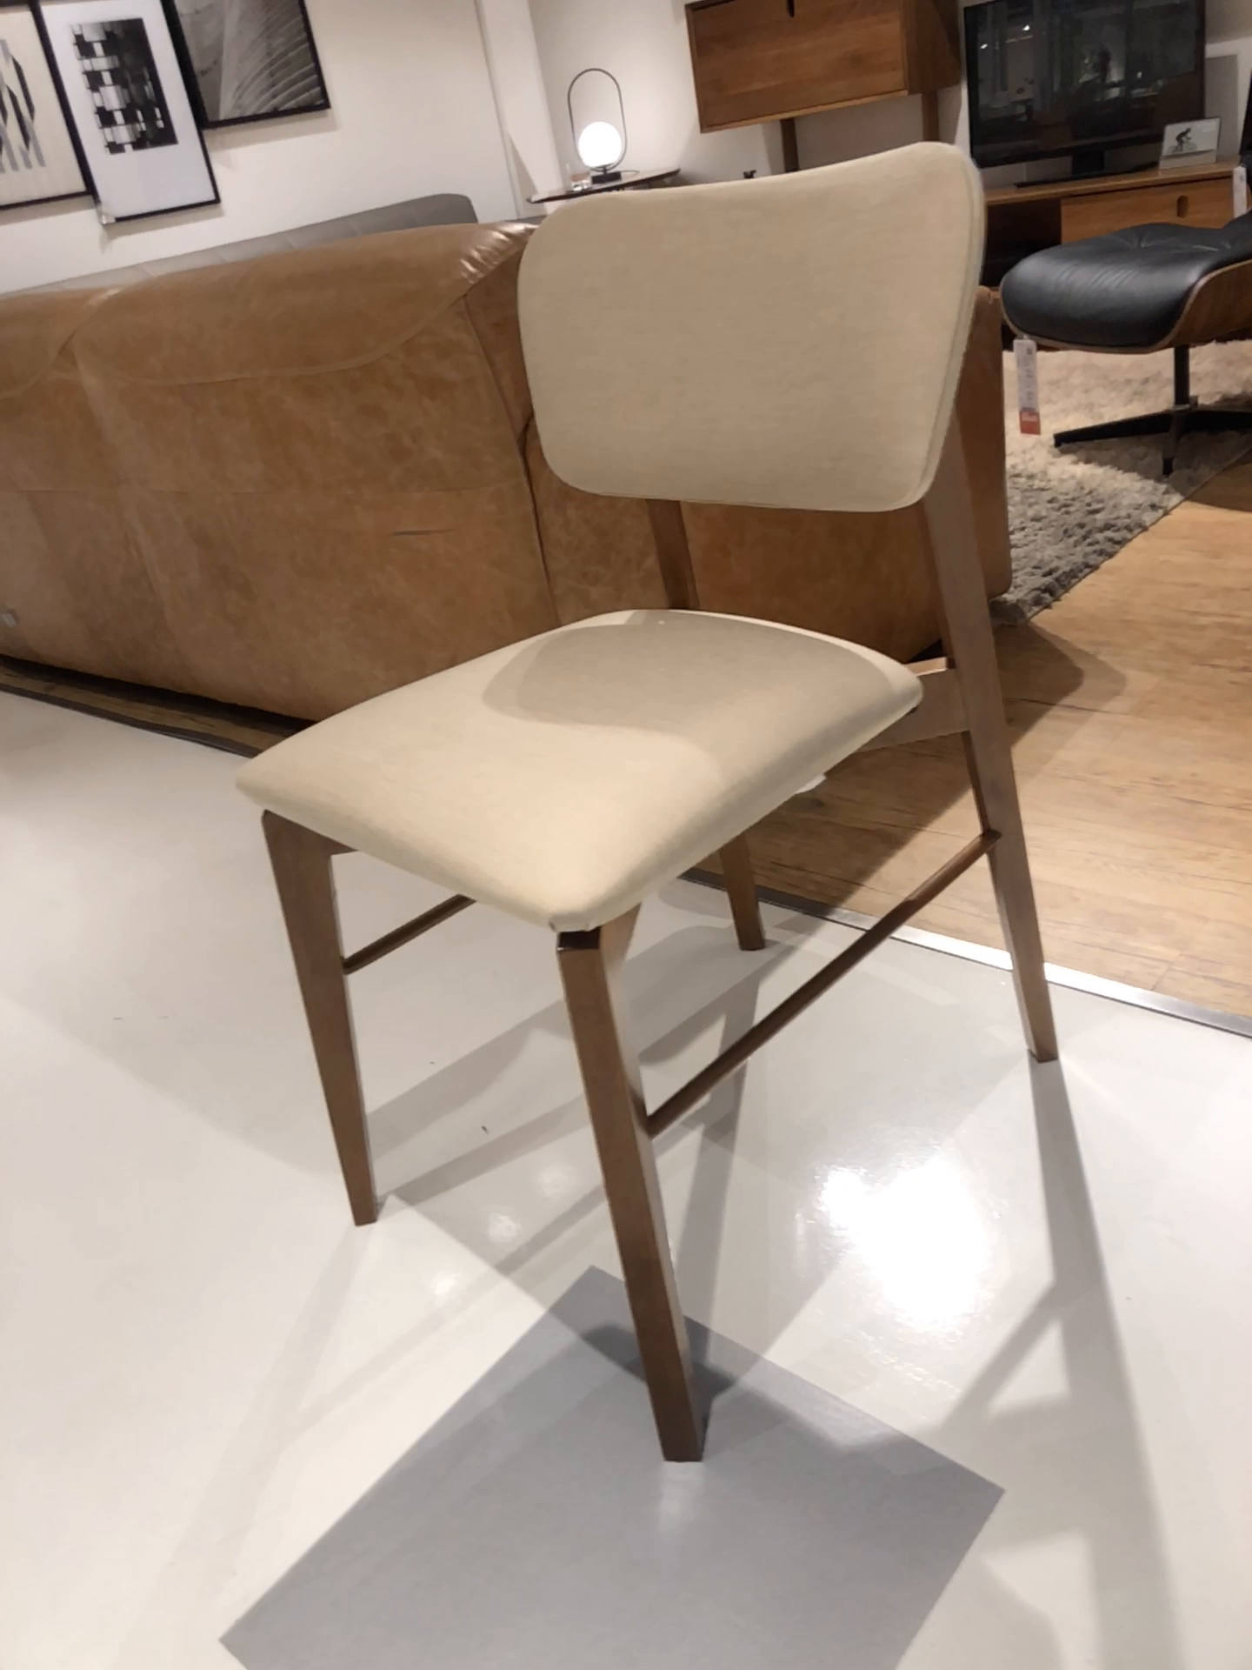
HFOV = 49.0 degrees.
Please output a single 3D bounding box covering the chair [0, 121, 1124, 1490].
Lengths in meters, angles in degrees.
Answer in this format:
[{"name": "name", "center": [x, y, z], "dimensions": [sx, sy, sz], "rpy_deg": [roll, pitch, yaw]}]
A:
[{"name": "chair", "center": [0.007, -0.075, 1.111], "dimensions": [0.592, 0.764, 0.512], "rpy_deg": [-31, 33, -33]}]
